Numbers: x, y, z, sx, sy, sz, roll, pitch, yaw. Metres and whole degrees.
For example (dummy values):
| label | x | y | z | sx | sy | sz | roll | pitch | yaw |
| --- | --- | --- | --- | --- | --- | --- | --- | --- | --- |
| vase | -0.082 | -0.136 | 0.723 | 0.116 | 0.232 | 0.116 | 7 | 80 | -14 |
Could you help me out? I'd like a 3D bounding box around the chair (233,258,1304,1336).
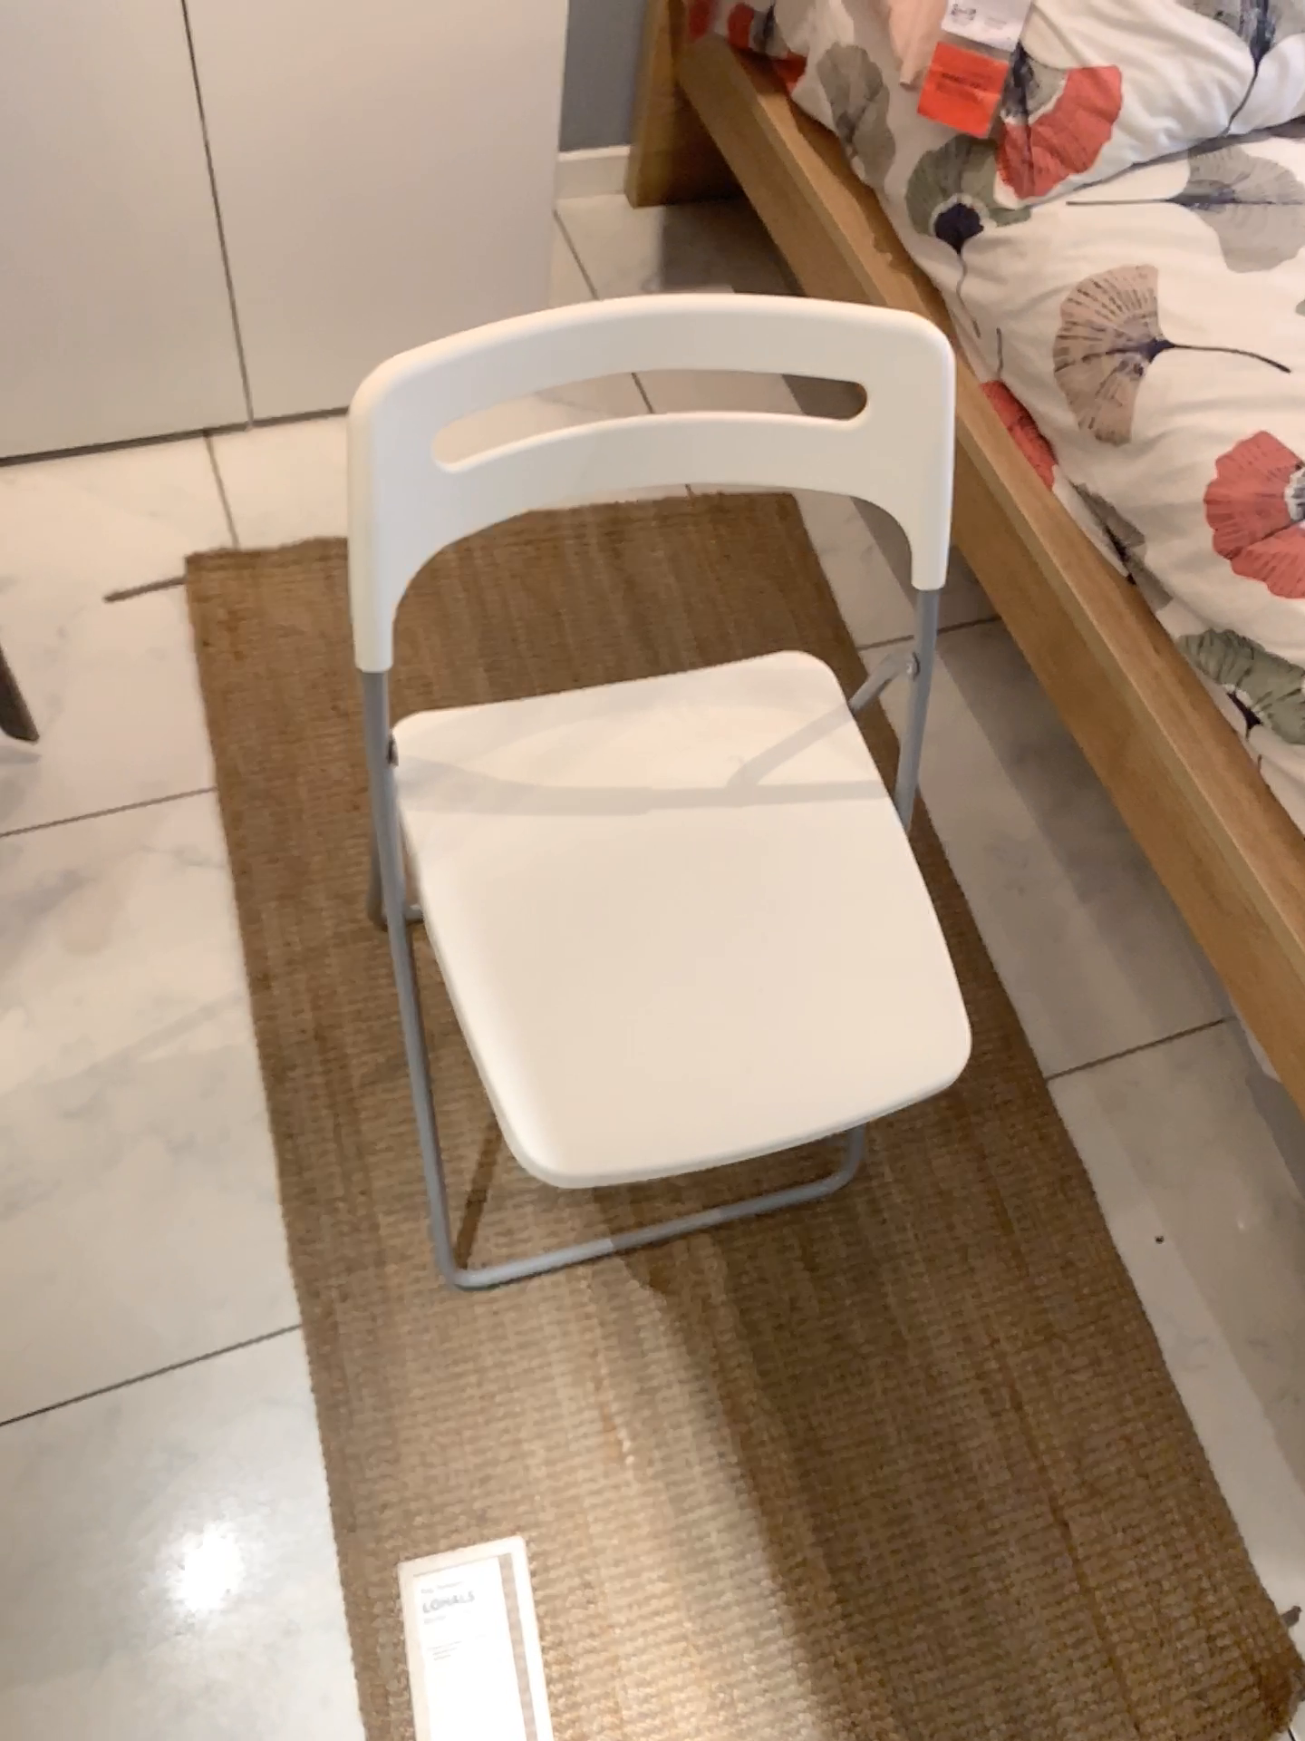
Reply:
| label | x | y | z | sx | sy | sz | roll | pitch | yaw |
| --- | --- | --- | --- | --- | --- | --- | --- | --- | --- |
| chair | 0.002 | 0.001 | 0.977 | 0.450 | 0.659 | 0.430 | -10 | 63 | -14 |
